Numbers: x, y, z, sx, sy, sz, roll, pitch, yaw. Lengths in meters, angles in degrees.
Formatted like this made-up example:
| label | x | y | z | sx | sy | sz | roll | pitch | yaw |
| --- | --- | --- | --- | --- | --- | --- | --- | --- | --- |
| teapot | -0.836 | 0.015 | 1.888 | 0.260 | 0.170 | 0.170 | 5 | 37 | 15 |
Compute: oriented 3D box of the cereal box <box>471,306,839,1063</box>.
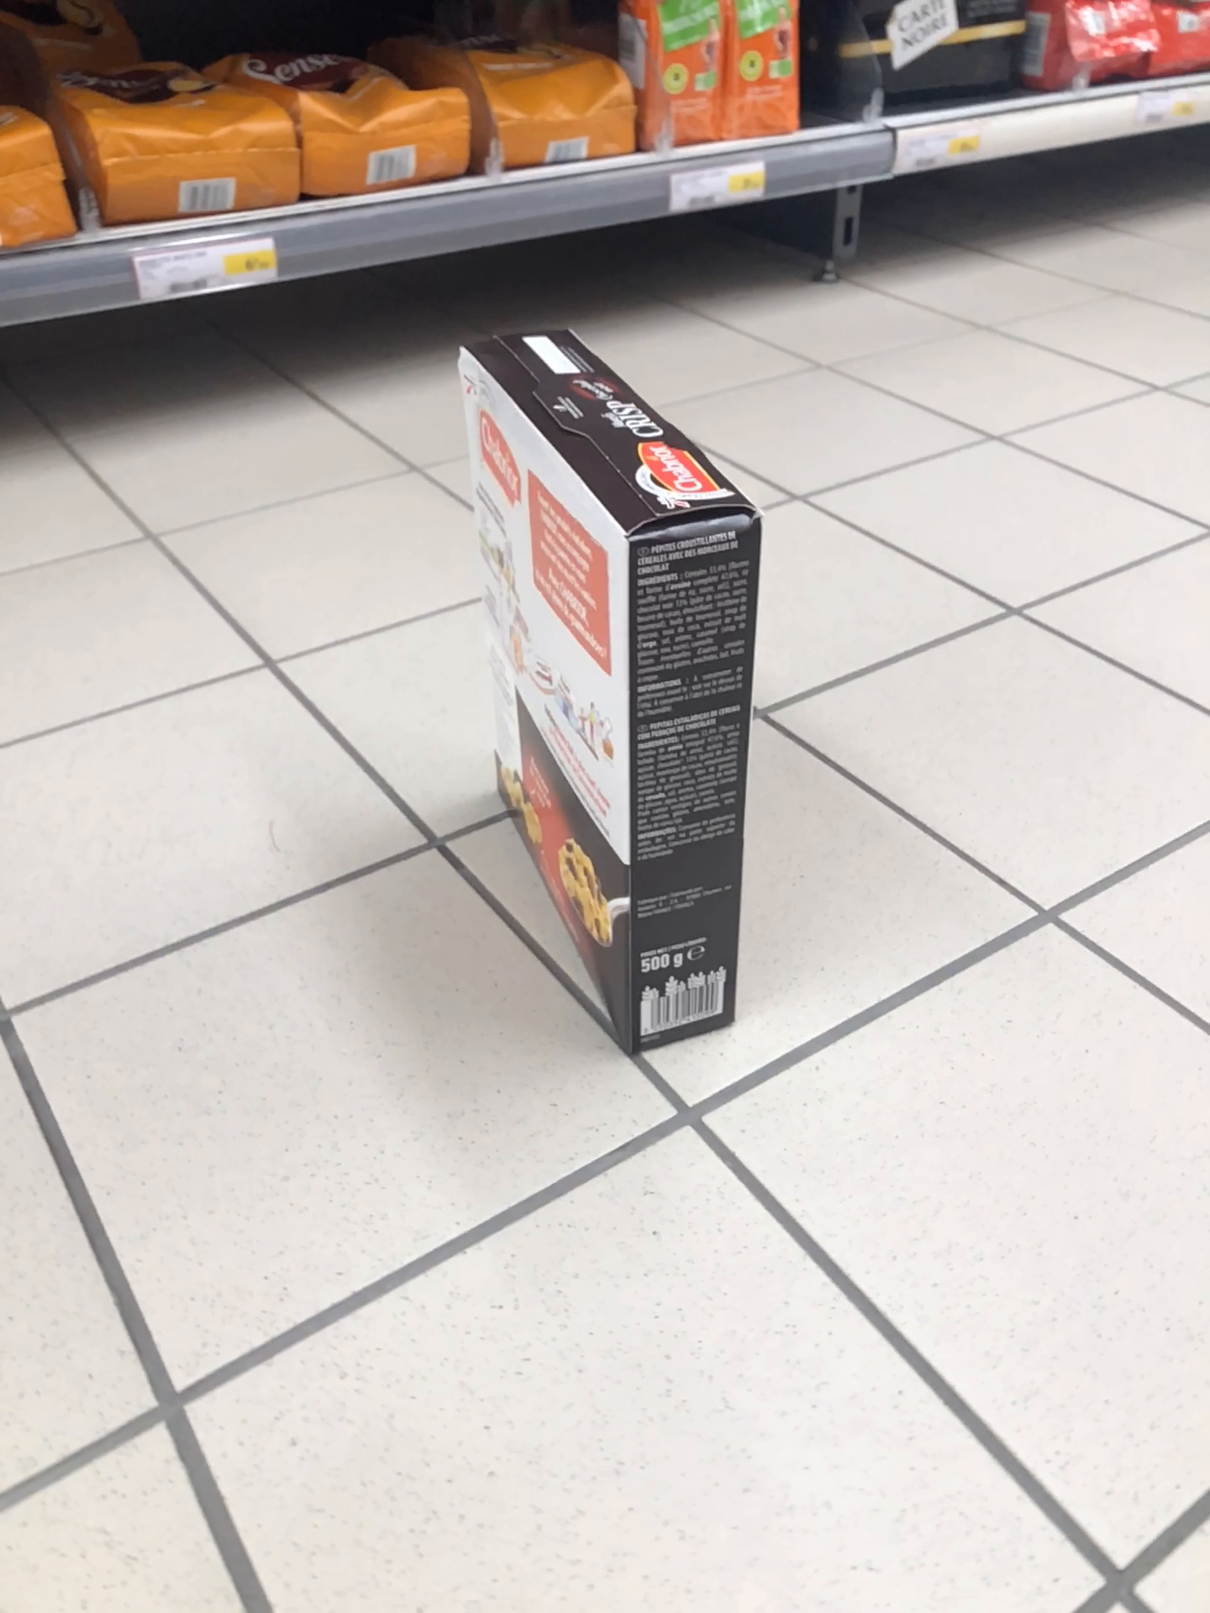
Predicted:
| label | x | y | z | sx | sy | sz | roll | pitch | yaw |
| --- | --- | --- | --- | --- | --- | --- | --- | --- | --- |
| cereal box | 0.008 | -0.054 | 0.537 | 0.060 | 0.229 | 0.201 | -12 | 38 | -16 |
